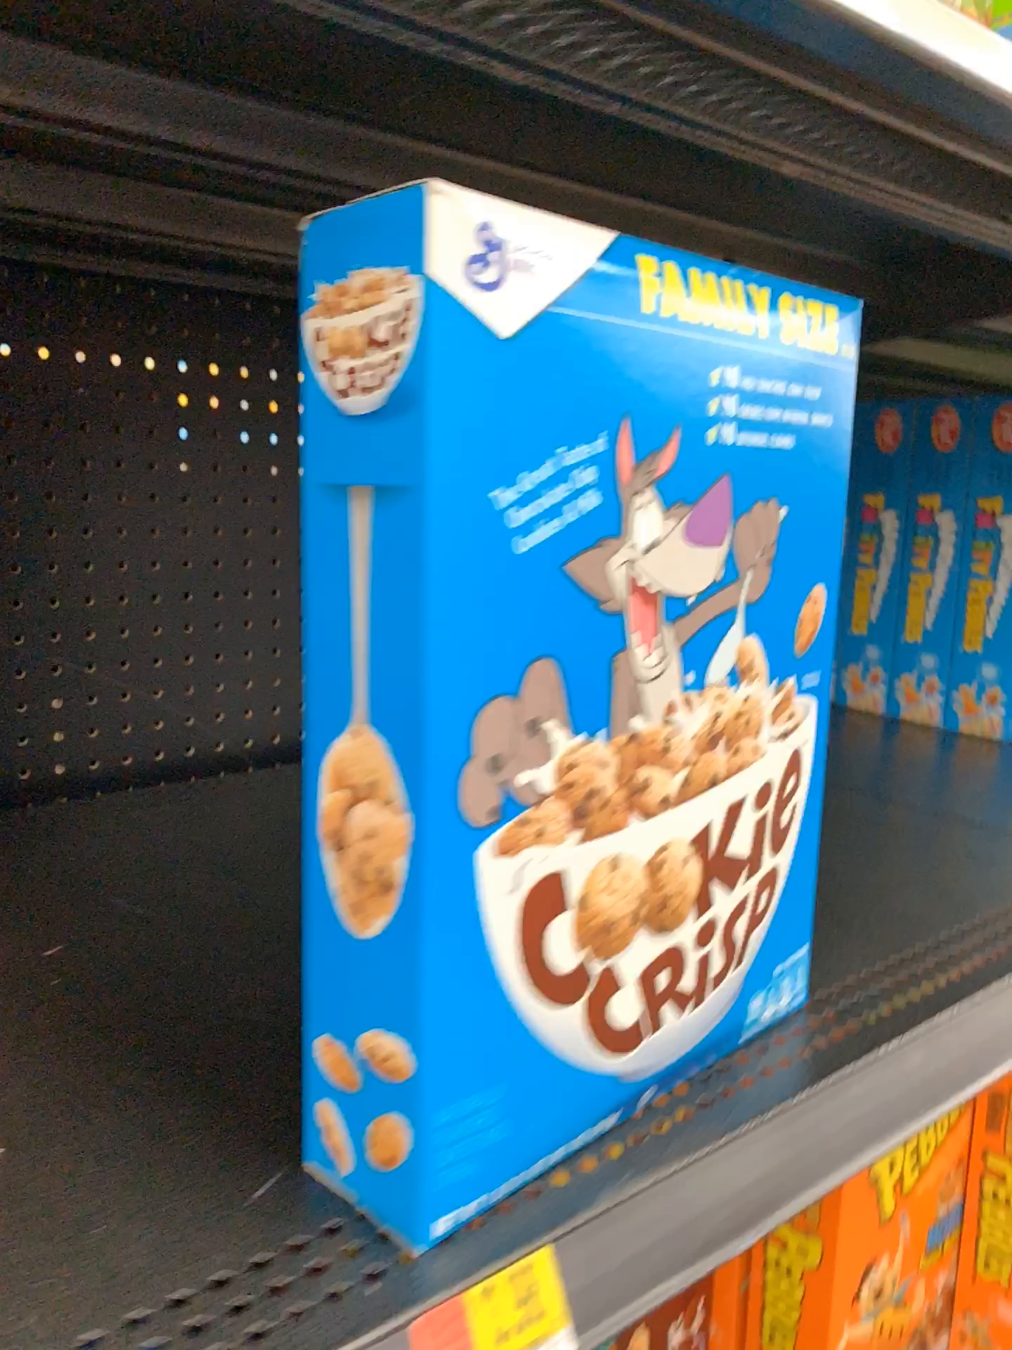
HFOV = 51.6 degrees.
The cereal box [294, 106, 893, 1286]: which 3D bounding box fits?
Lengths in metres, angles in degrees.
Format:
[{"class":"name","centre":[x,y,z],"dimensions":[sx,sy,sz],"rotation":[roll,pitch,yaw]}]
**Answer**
[{"class":"cereal box","centre":[0.044,0.003,0.407],"dimensions":[0.070,0.339,0.250],"rotation":[12,15,43]}]
